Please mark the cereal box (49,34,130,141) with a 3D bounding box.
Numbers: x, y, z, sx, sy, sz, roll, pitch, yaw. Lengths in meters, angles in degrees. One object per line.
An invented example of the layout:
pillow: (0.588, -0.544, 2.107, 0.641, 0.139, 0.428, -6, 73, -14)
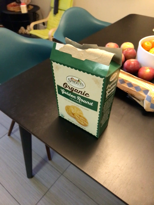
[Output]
cereal box: (0.026, -0.034, 0.469, 0.170, 0.248, 0.081, 26, 49, 26)
